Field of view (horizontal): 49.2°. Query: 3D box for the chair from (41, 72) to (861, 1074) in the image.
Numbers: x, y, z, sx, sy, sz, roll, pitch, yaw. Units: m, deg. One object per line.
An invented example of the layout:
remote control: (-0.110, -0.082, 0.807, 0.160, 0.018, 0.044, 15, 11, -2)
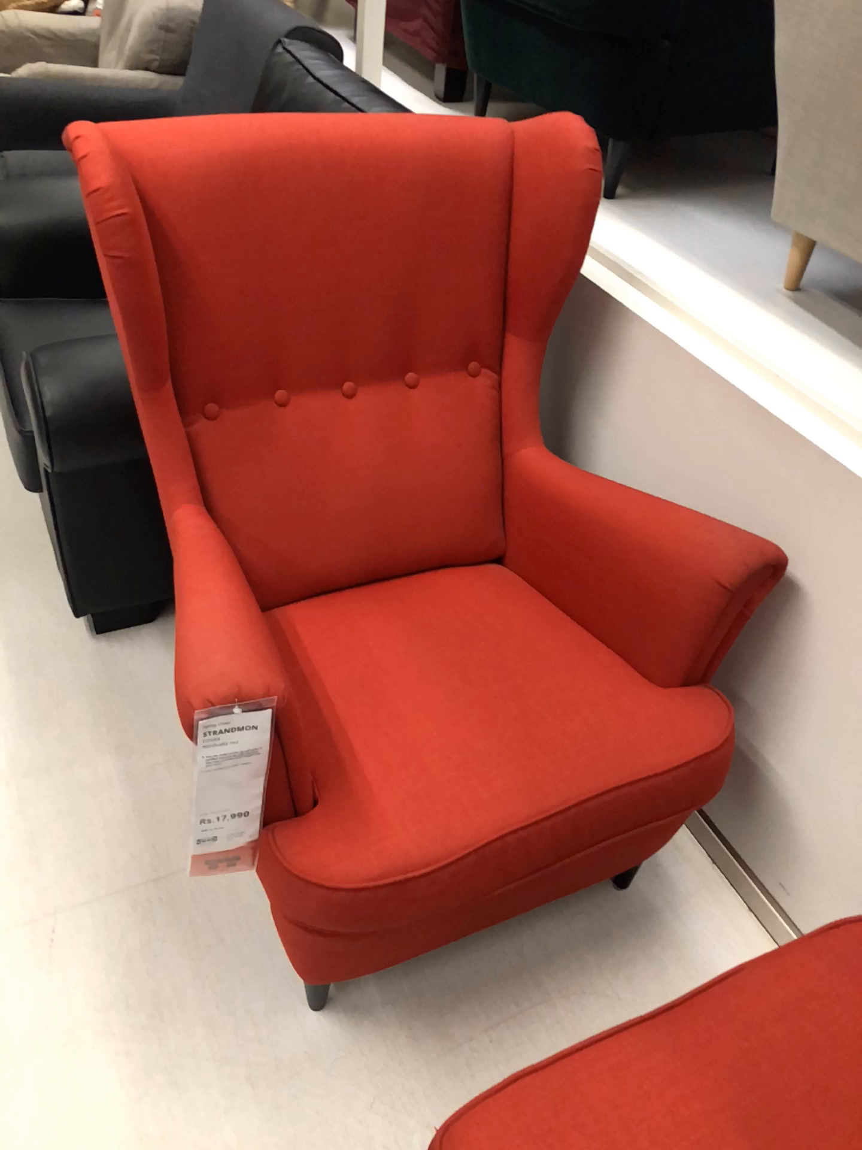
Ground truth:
chair: (0.053, -0.084, 1.368, 0.902, 0.973, 0.845, -13, 43, -24)
